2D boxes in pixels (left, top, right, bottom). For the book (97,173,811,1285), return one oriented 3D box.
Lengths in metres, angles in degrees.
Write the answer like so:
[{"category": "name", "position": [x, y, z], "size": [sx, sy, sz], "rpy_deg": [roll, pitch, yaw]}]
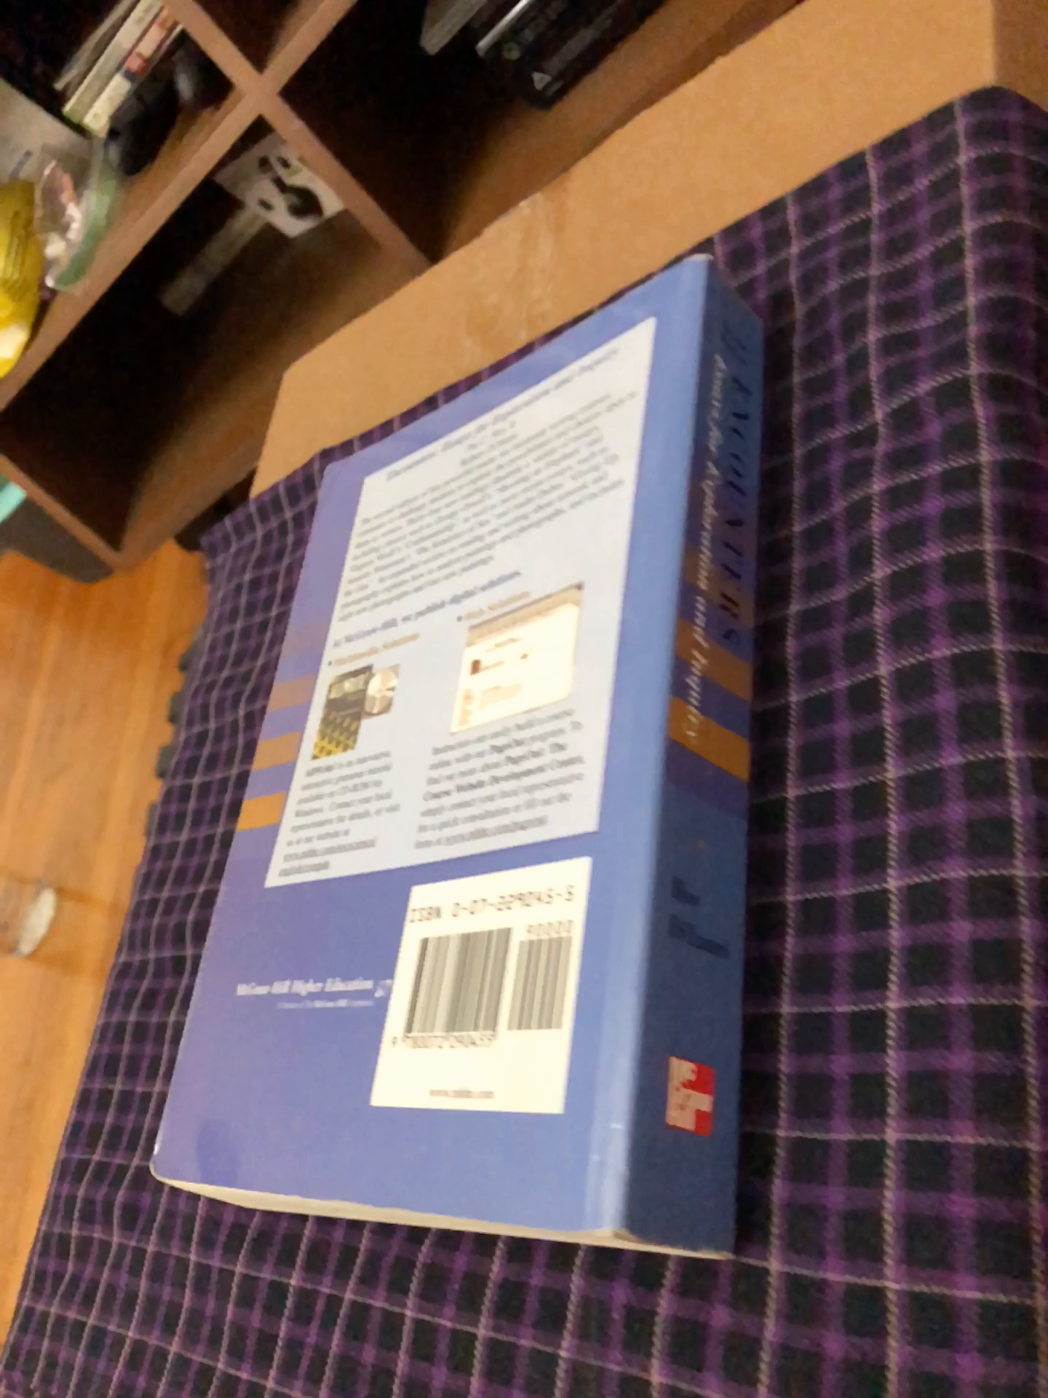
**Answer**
[{"category": "book", "position": [-0.017, 0.007, 0.304], "size": [0.181, 0.040, 0.240], "rpy_deg": [-18, 53, 42]}]
